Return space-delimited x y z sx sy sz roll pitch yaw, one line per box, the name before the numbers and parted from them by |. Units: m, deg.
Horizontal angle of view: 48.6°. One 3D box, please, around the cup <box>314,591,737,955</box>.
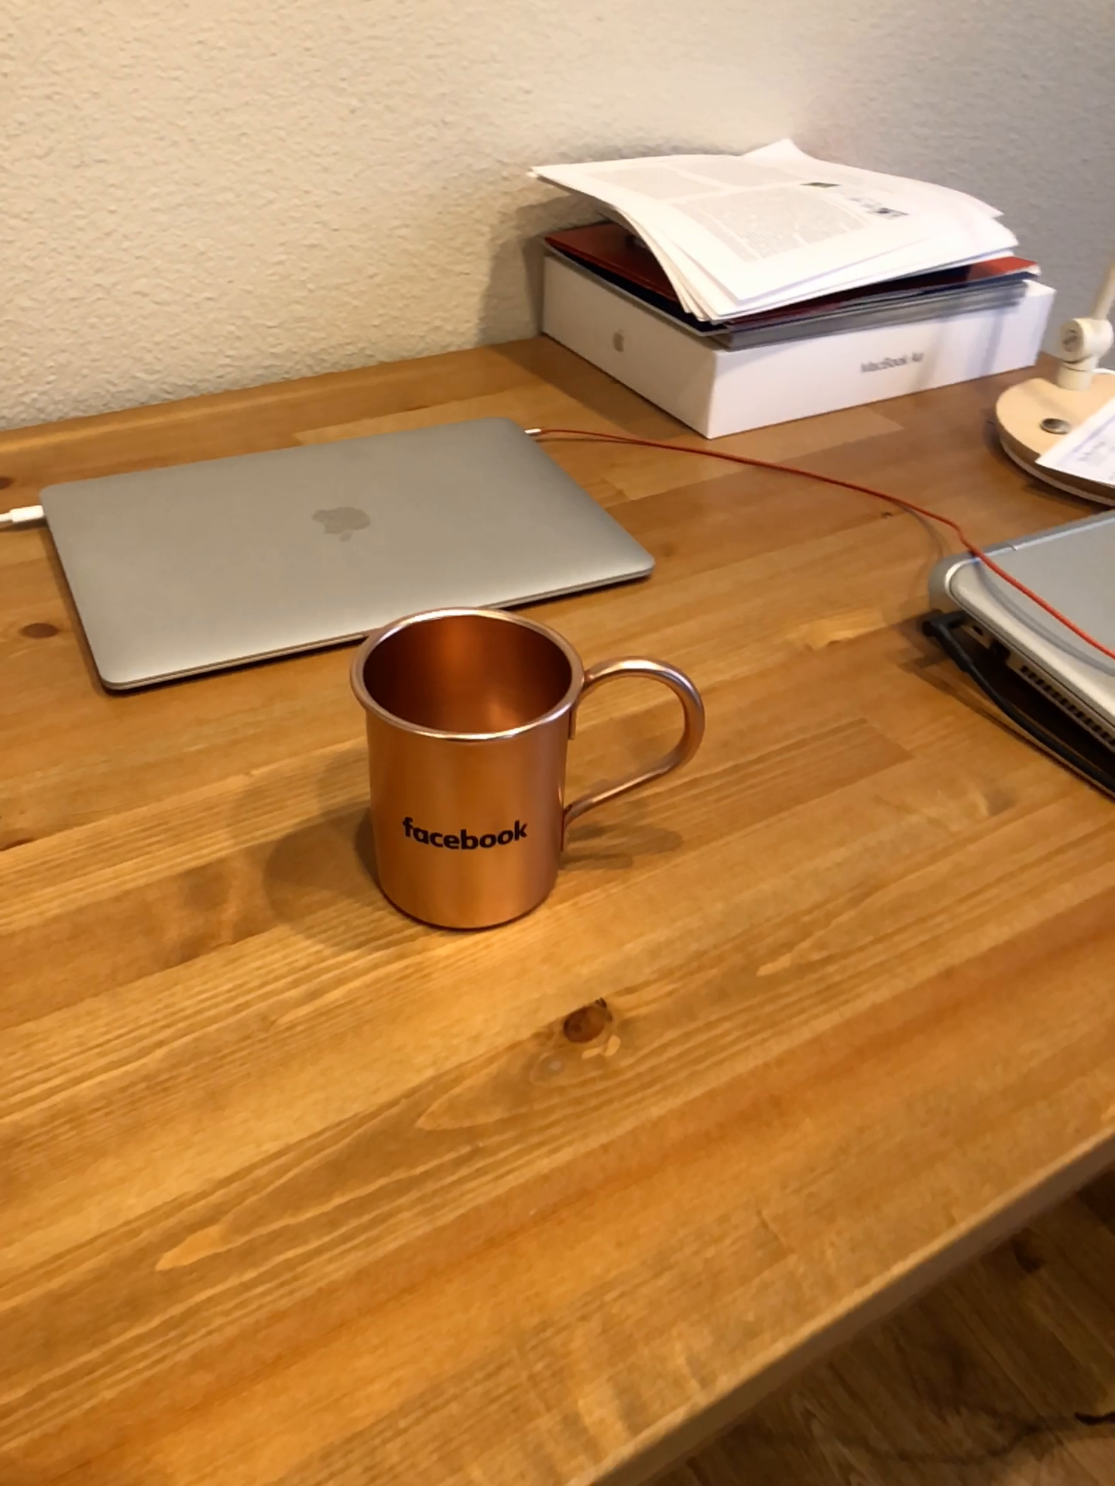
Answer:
cup | -0.012 0.011 0.442 0.130 0.100 0.080 1 37 -2
